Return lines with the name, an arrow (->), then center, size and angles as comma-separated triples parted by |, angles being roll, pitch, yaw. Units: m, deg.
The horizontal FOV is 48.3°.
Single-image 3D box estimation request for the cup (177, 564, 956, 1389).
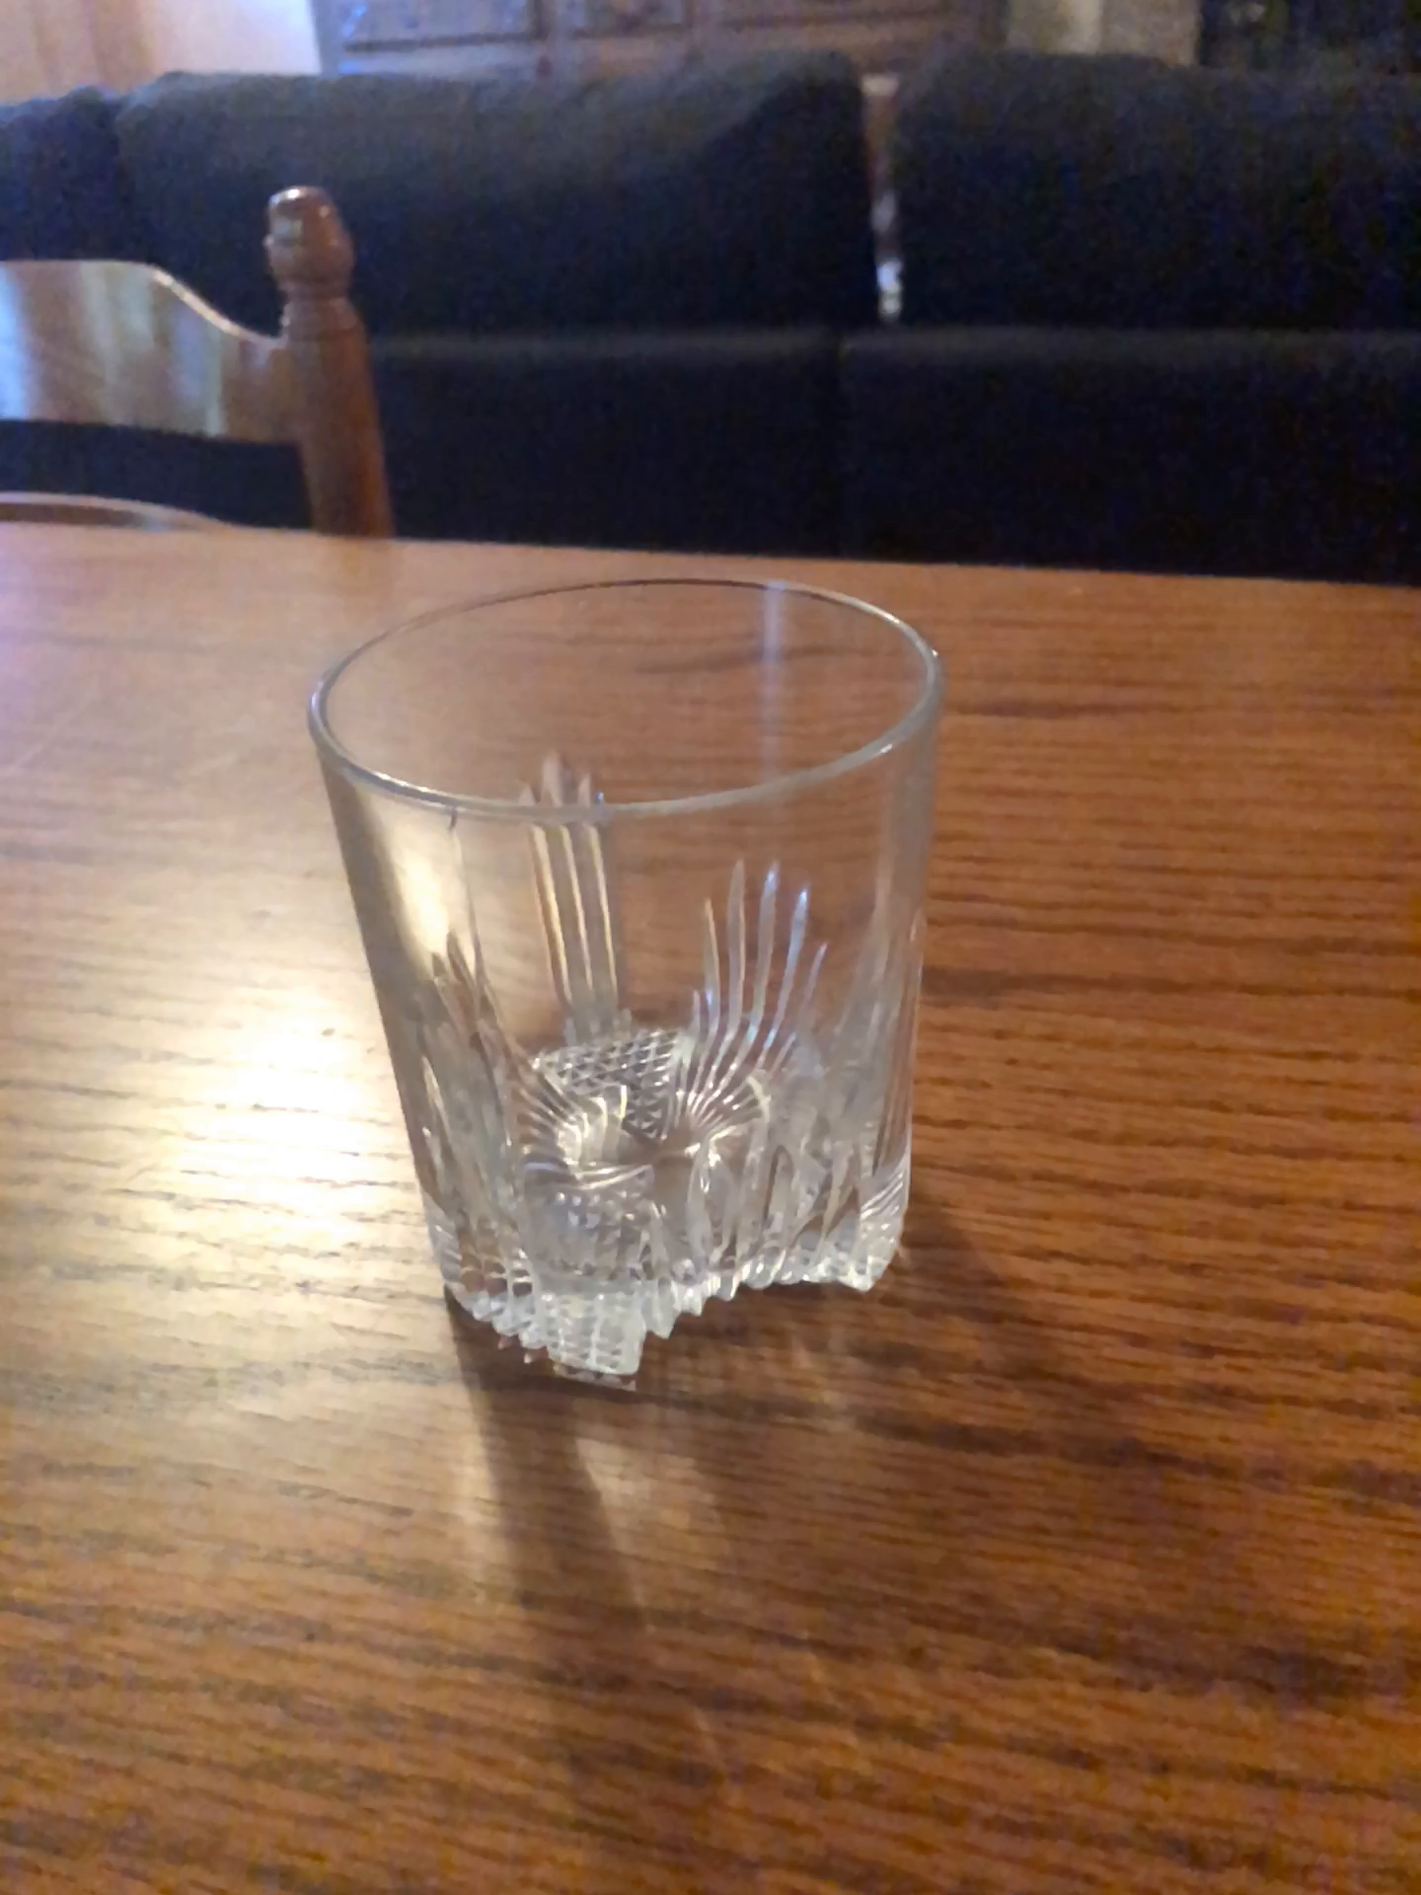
cup -> -0.010, 0.000, 0.224 | 0.084, 0.084, 0.080 | -2, 31, 1
